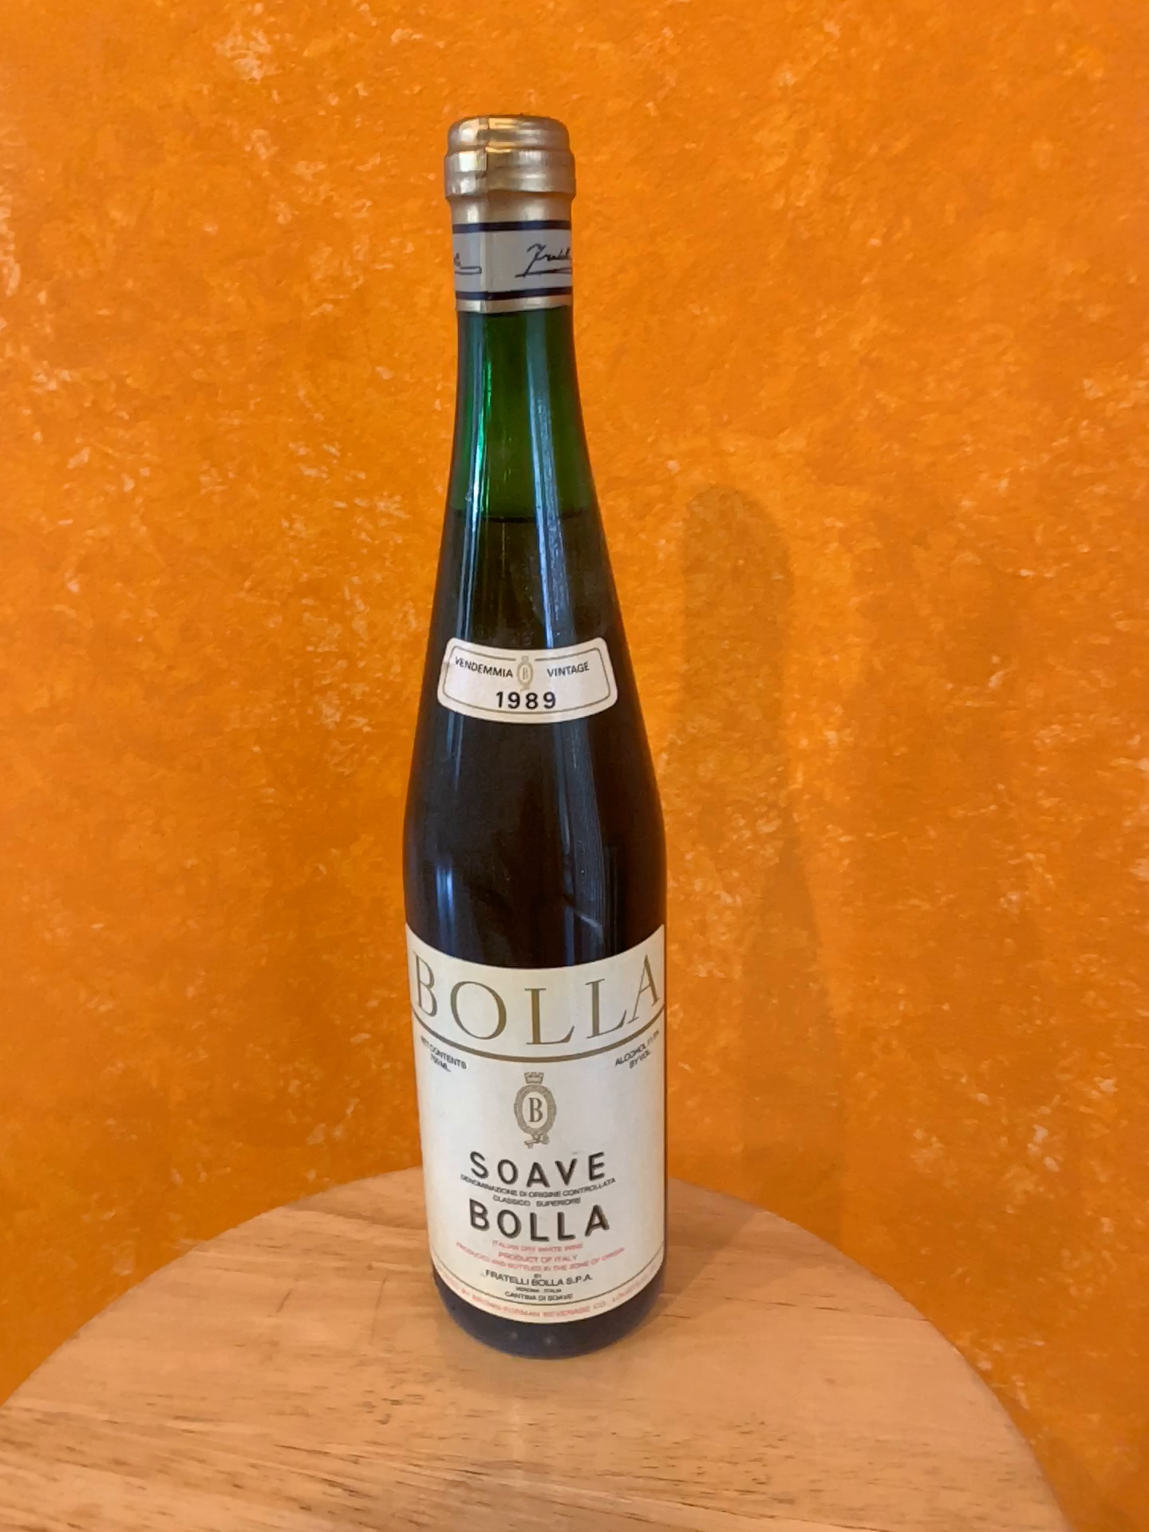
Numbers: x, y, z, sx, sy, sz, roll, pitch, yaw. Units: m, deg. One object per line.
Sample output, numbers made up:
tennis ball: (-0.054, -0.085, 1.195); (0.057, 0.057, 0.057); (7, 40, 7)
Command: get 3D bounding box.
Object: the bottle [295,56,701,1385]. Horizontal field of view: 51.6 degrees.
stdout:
bottle: (-0.010, 0.009, 0.324); (0.080, 0.338, 0.070); (0, 20, 4)
